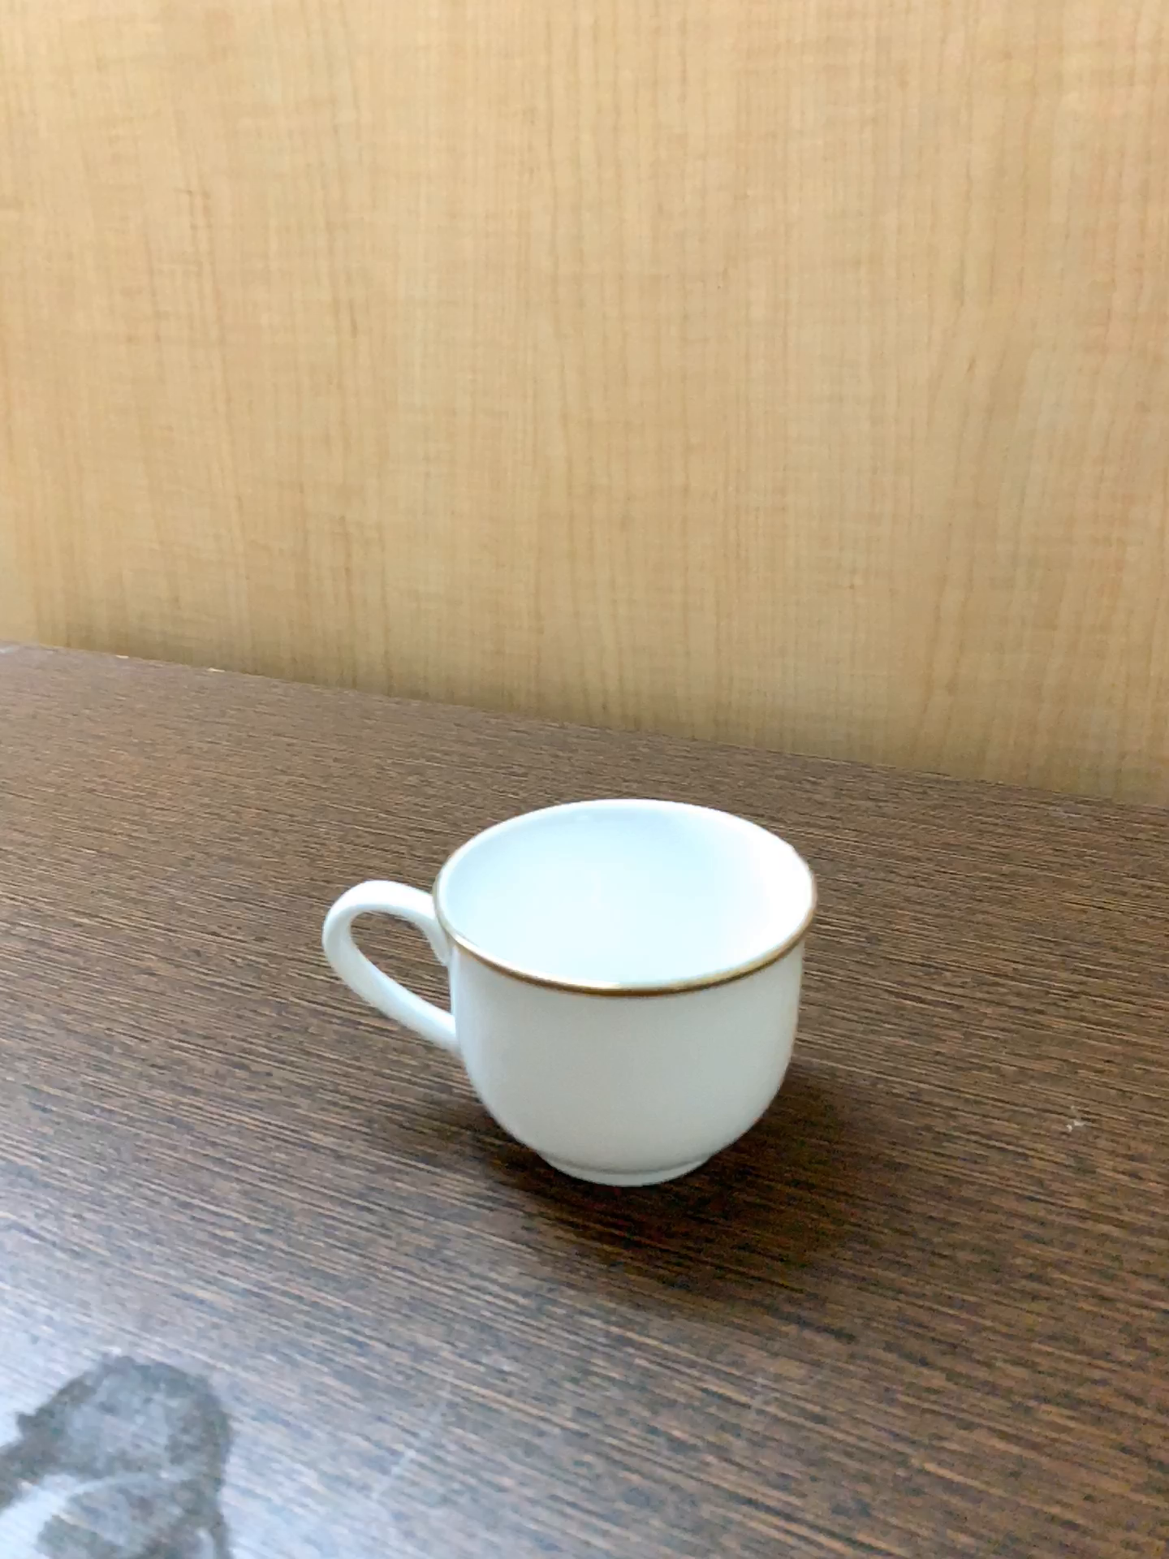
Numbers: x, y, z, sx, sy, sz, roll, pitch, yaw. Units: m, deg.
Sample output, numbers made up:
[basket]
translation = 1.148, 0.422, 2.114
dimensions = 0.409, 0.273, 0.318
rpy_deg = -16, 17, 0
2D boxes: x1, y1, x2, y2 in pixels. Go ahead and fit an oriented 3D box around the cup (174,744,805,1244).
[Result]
[cup]
translation = -0.011, 0.031, 0.207
dimensions = 0.090, 0.050, 0.060
rpy_deg = 4, 24, 11
